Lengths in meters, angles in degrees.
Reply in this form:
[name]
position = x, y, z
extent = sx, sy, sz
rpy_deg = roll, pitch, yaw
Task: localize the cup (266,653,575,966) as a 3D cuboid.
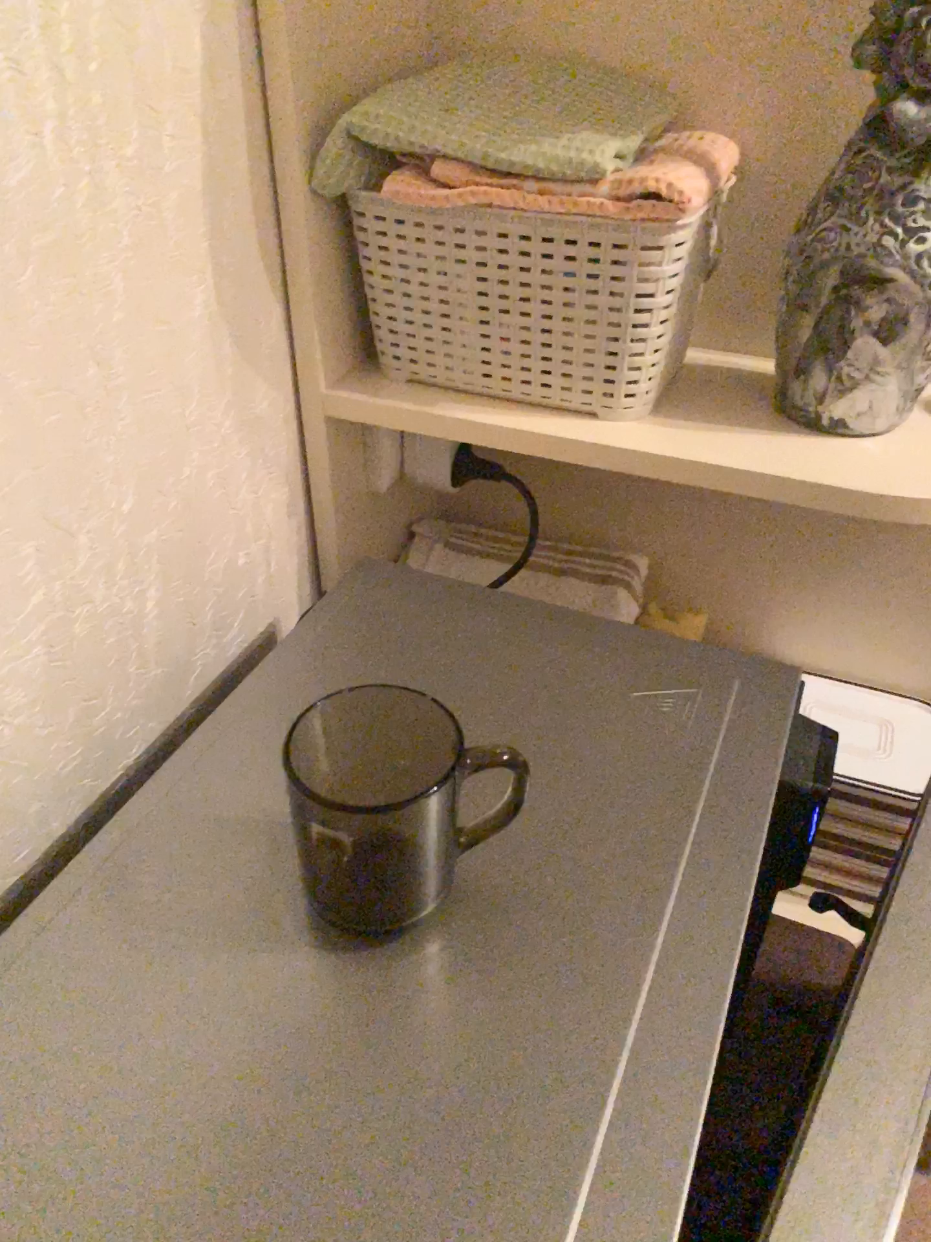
[cup]
position = -0.022, 0.076, 0.398
extent = 0.110, 0.079, 0.081
rpy_deg = -7, 37, -10
